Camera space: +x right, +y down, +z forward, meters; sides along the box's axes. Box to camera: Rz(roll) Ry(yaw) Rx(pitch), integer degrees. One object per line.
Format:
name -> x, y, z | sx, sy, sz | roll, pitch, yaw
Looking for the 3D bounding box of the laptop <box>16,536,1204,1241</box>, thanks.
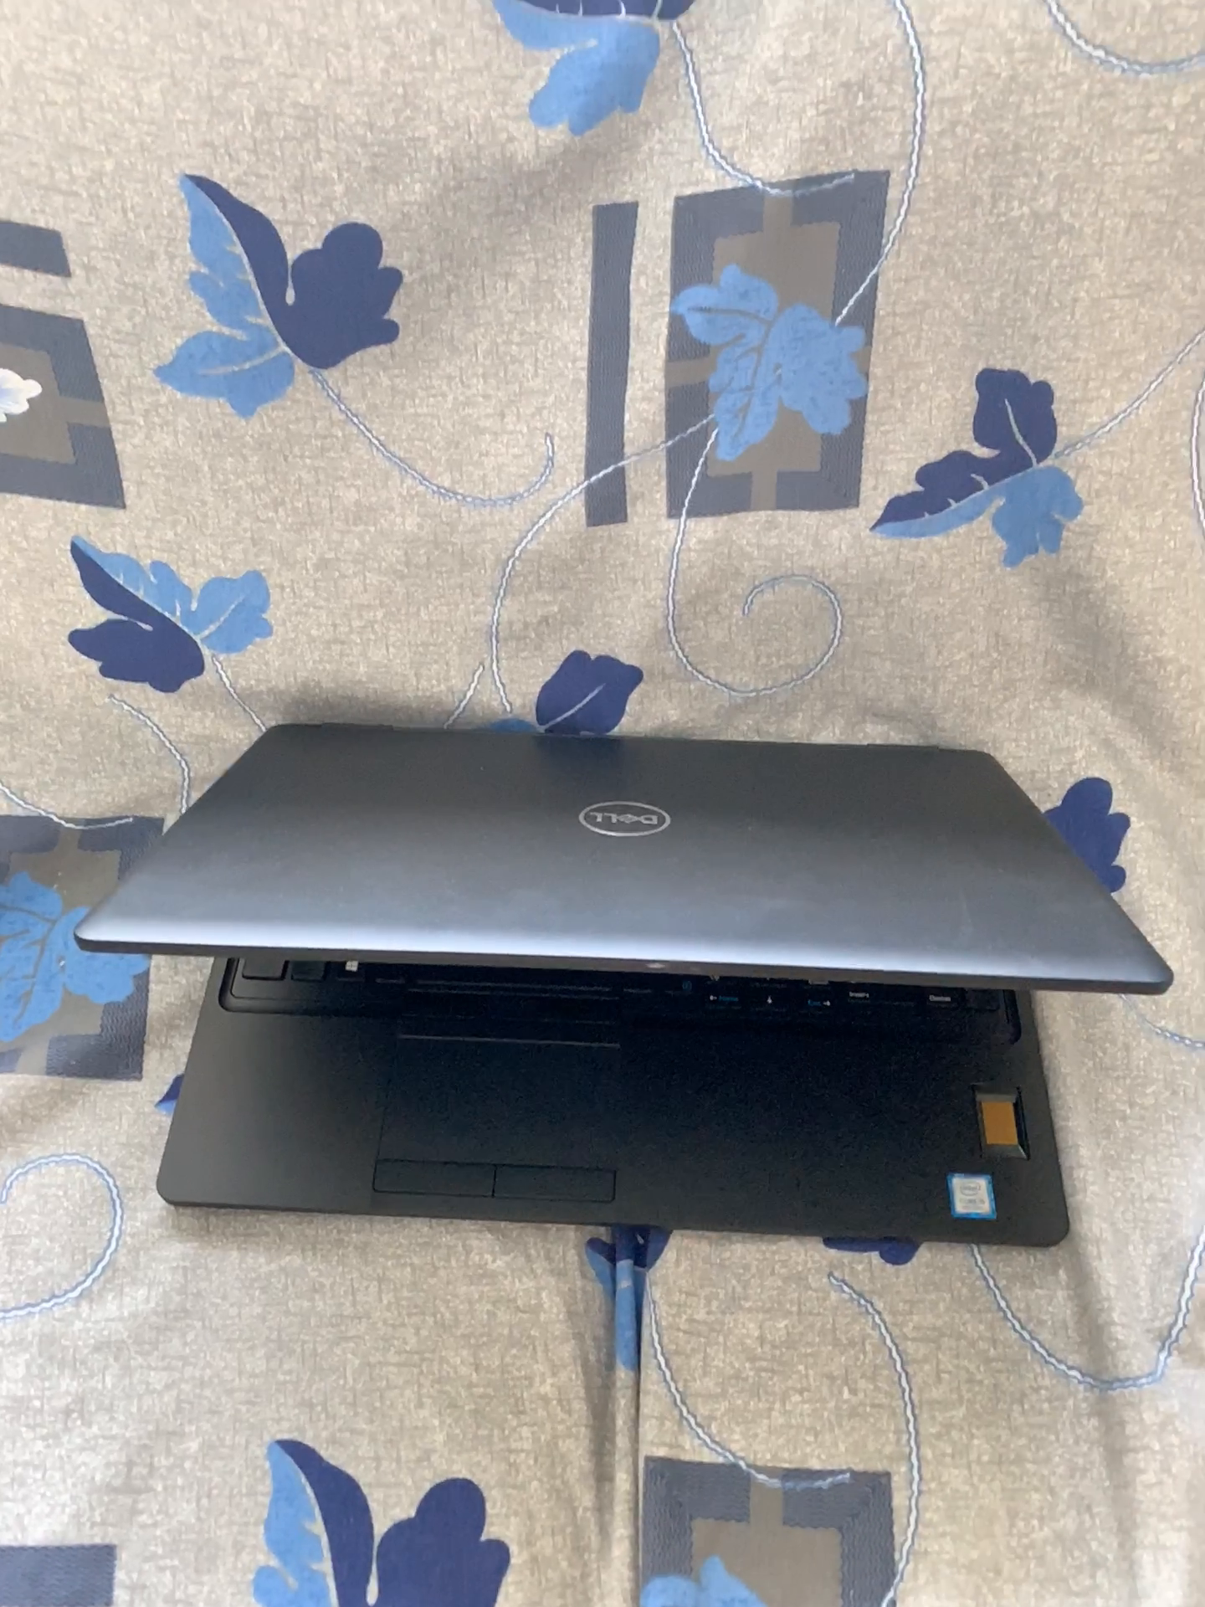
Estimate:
laptop -> 0.008, 0.031, 0.505 | 0.371, 0.142, 0.239 | 2, 56, 2
